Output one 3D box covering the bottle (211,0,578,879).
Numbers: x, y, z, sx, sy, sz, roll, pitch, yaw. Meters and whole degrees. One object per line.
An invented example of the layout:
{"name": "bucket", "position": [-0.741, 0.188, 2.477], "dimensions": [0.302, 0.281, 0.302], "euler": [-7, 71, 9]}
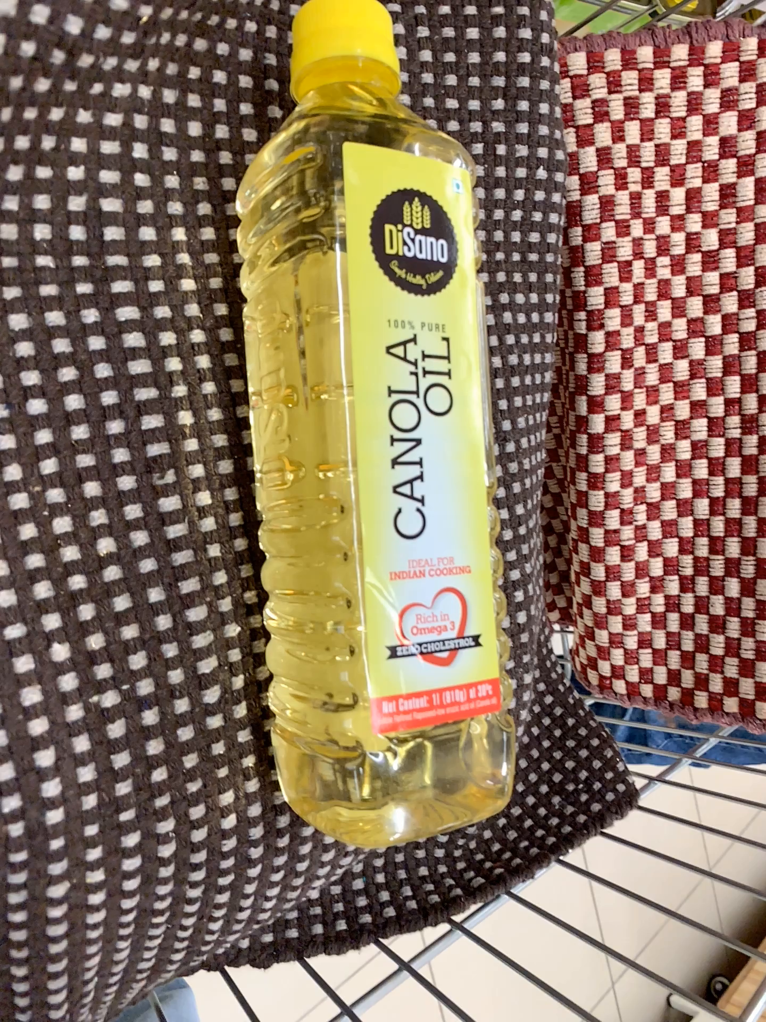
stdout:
{"name": "bottle", "position": [0.001, -0.042, 0.222], "dimensions": [0.070, 0.060, 0.250], "euler": [-3, 89, -29]}
